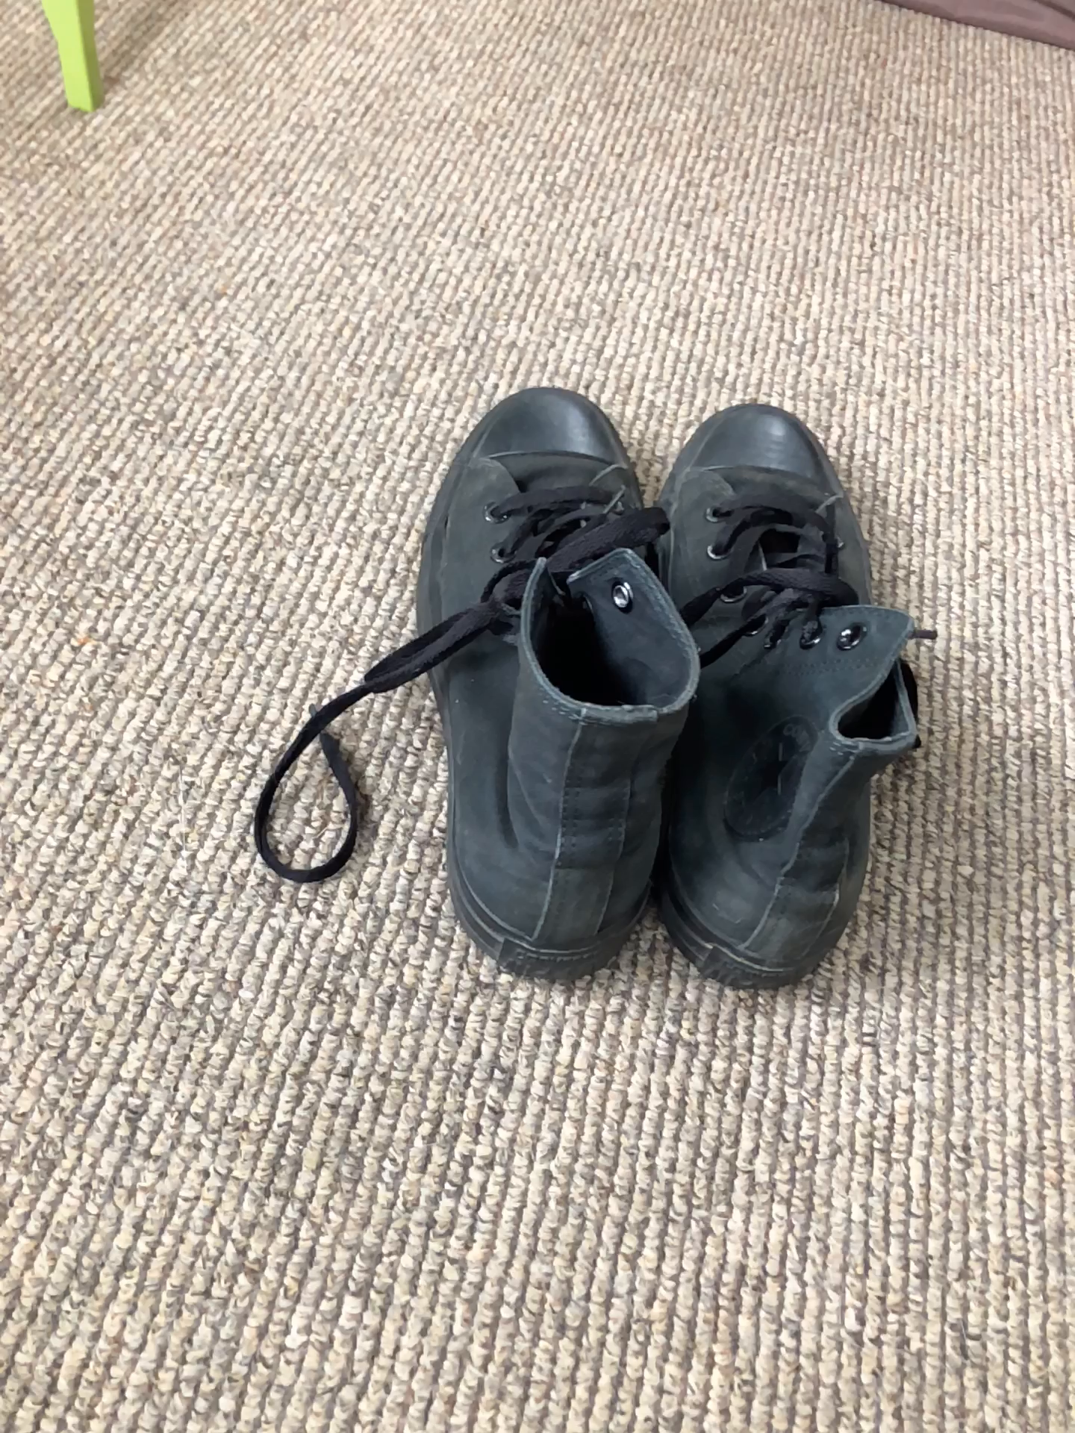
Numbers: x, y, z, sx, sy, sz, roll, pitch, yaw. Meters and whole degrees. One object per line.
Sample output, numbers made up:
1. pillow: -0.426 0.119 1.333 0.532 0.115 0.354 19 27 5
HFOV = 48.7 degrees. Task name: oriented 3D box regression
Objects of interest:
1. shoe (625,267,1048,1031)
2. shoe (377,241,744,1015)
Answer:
1. shoe: 0.090 -0.030 0.434 0.088 0.126 0.244 8 54 -5
2. shoe: 0.001 -0.035 0.416 0.088 0.126 0.237 5 54 -6
